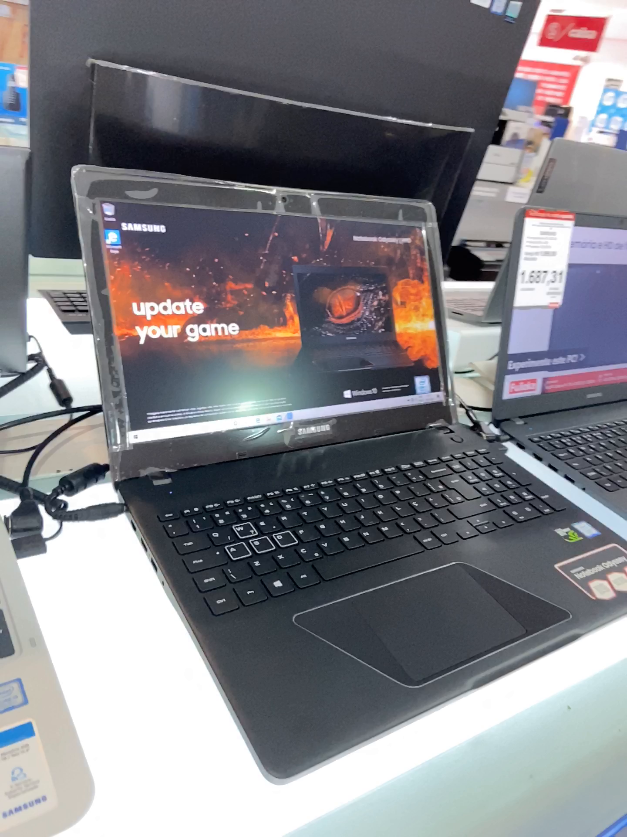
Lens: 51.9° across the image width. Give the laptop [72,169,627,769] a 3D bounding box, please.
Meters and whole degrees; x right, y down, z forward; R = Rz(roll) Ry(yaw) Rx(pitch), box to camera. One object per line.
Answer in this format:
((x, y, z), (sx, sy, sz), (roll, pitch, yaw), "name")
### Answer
((0.053, -0.033, 0.505), (0.374, 0.202, 0.392), (-7, 32, -32), "laptop")
